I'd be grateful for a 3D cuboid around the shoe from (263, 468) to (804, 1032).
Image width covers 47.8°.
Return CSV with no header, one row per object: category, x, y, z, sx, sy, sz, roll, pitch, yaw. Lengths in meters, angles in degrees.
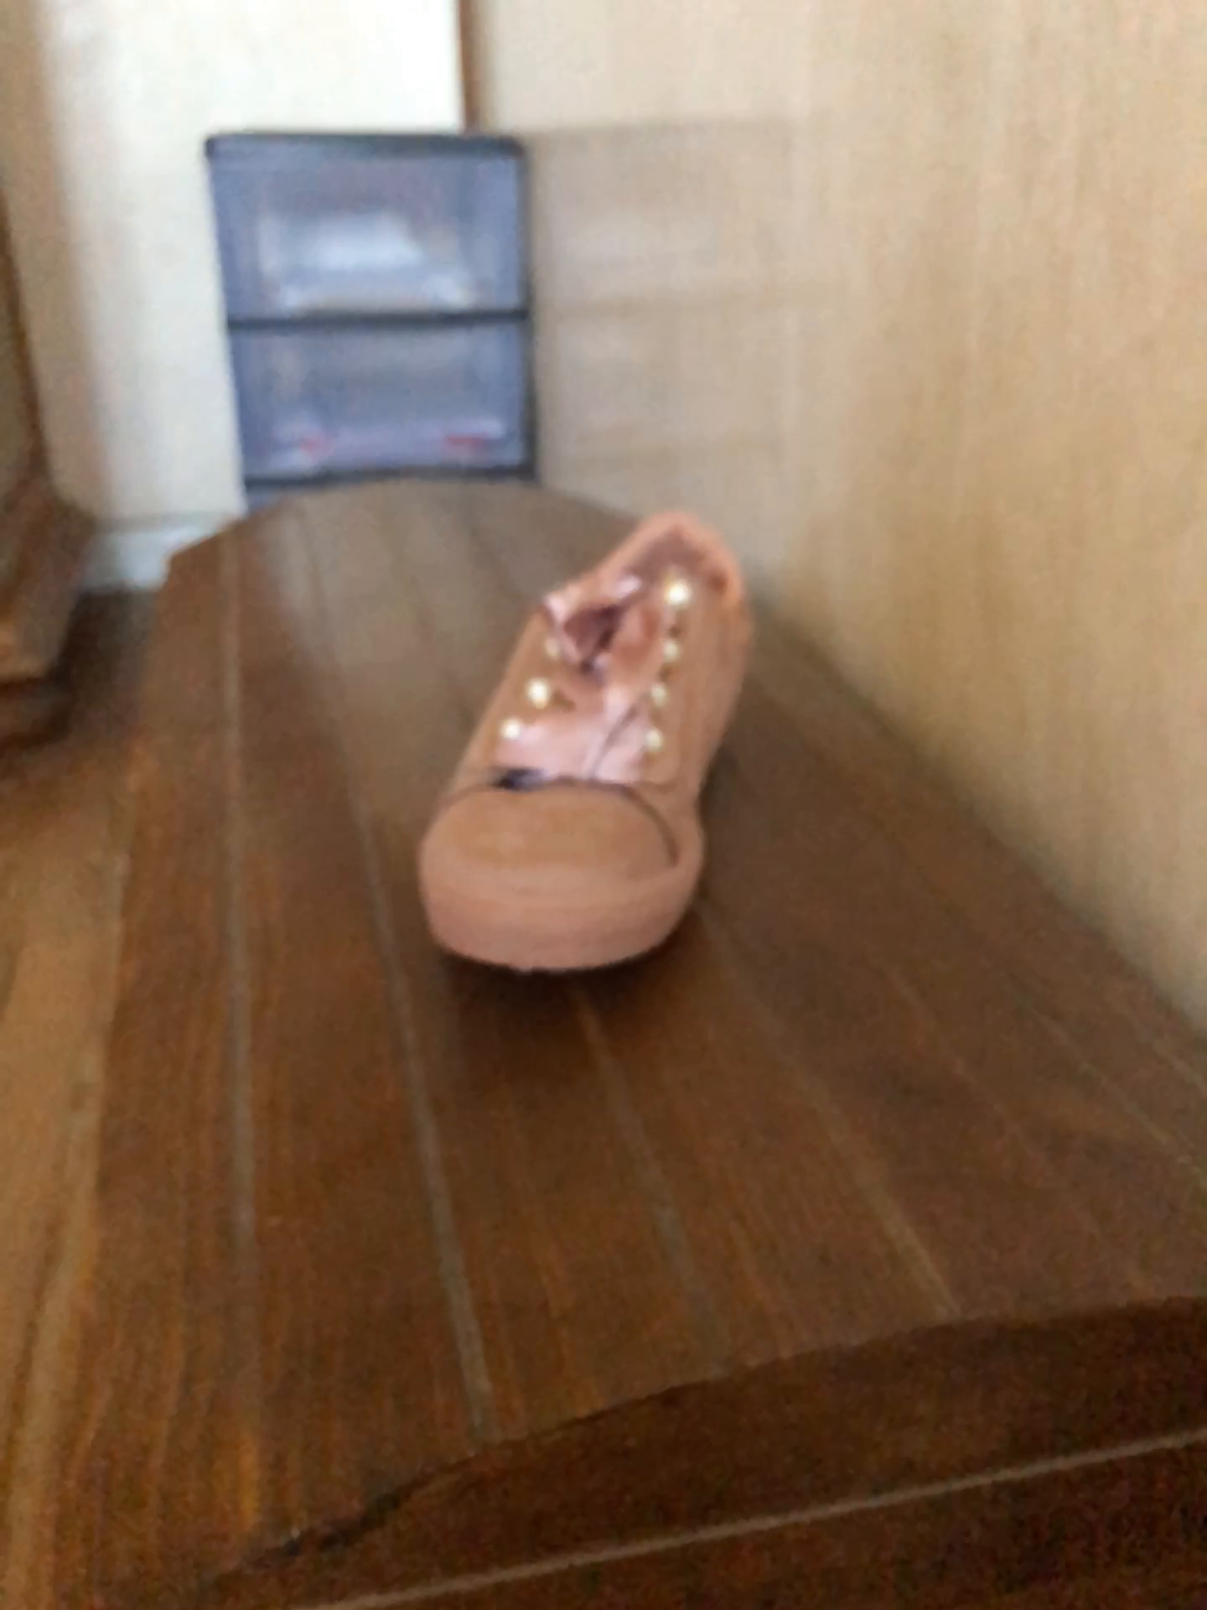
shoe,-0.003,-0.044,0.500,0.110,0.090,0.282,6,28,14
